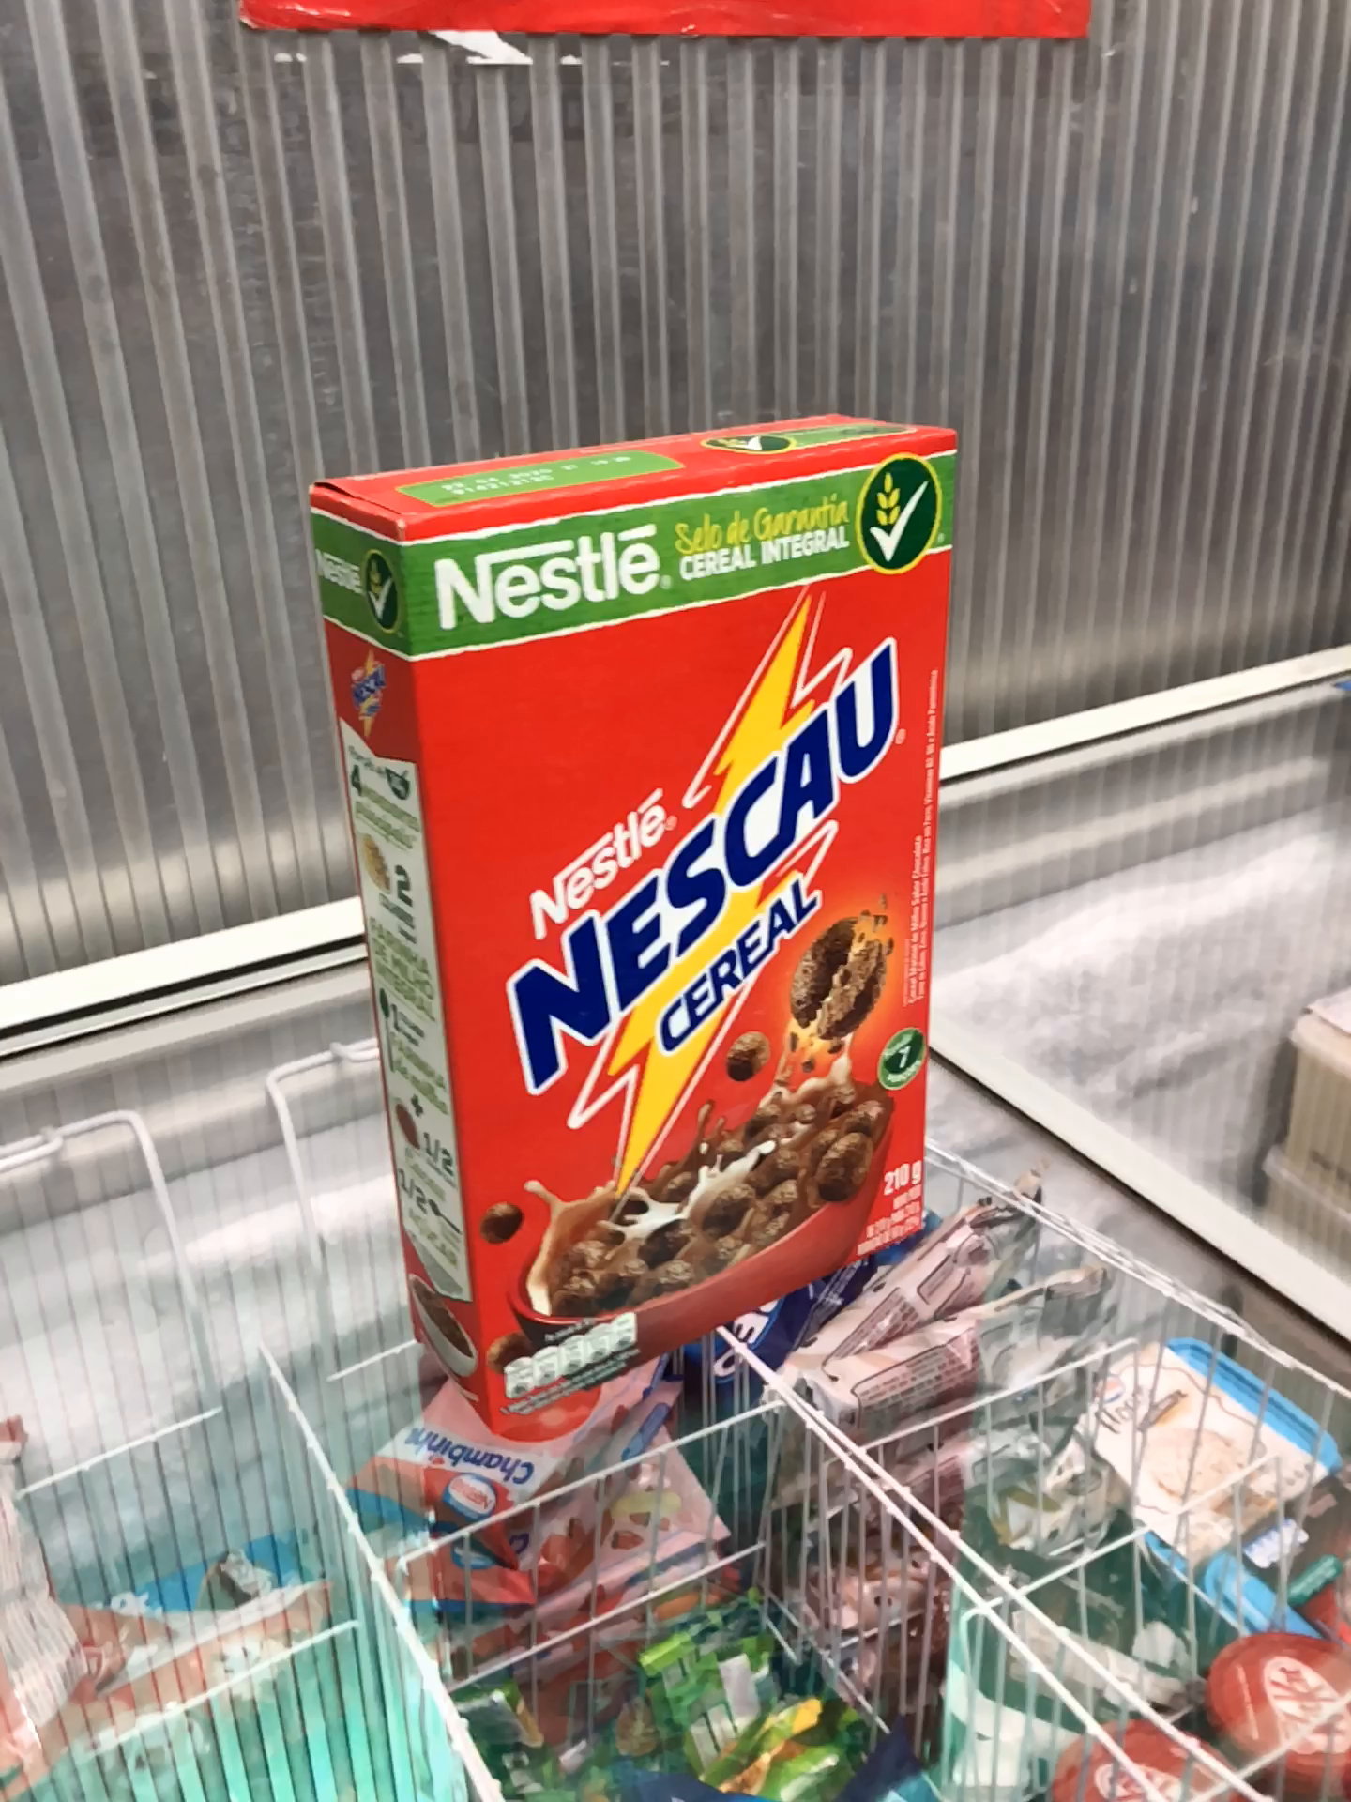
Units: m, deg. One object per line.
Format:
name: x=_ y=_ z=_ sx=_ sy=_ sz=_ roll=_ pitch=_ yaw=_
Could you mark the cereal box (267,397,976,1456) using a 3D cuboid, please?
cereal box: x=-0.005 y=0.005 z=0.417 sx=0.170 sy=0.258 sz=0.050 roll=-17 pitch=29 yaw=-29
